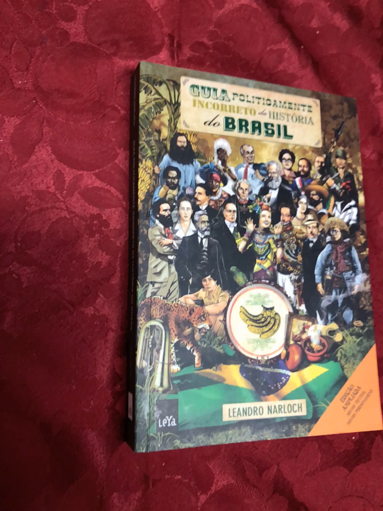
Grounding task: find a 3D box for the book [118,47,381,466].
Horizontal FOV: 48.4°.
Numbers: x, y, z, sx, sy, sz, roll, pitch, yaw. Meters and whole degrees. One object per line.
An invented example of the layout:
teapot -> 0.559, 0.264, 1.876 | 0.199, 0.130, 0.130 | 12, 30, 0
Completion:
book -> 0.036, -0.003, 0.271 | 0.160, 0.030, 0.230 | 1, 84, -17
